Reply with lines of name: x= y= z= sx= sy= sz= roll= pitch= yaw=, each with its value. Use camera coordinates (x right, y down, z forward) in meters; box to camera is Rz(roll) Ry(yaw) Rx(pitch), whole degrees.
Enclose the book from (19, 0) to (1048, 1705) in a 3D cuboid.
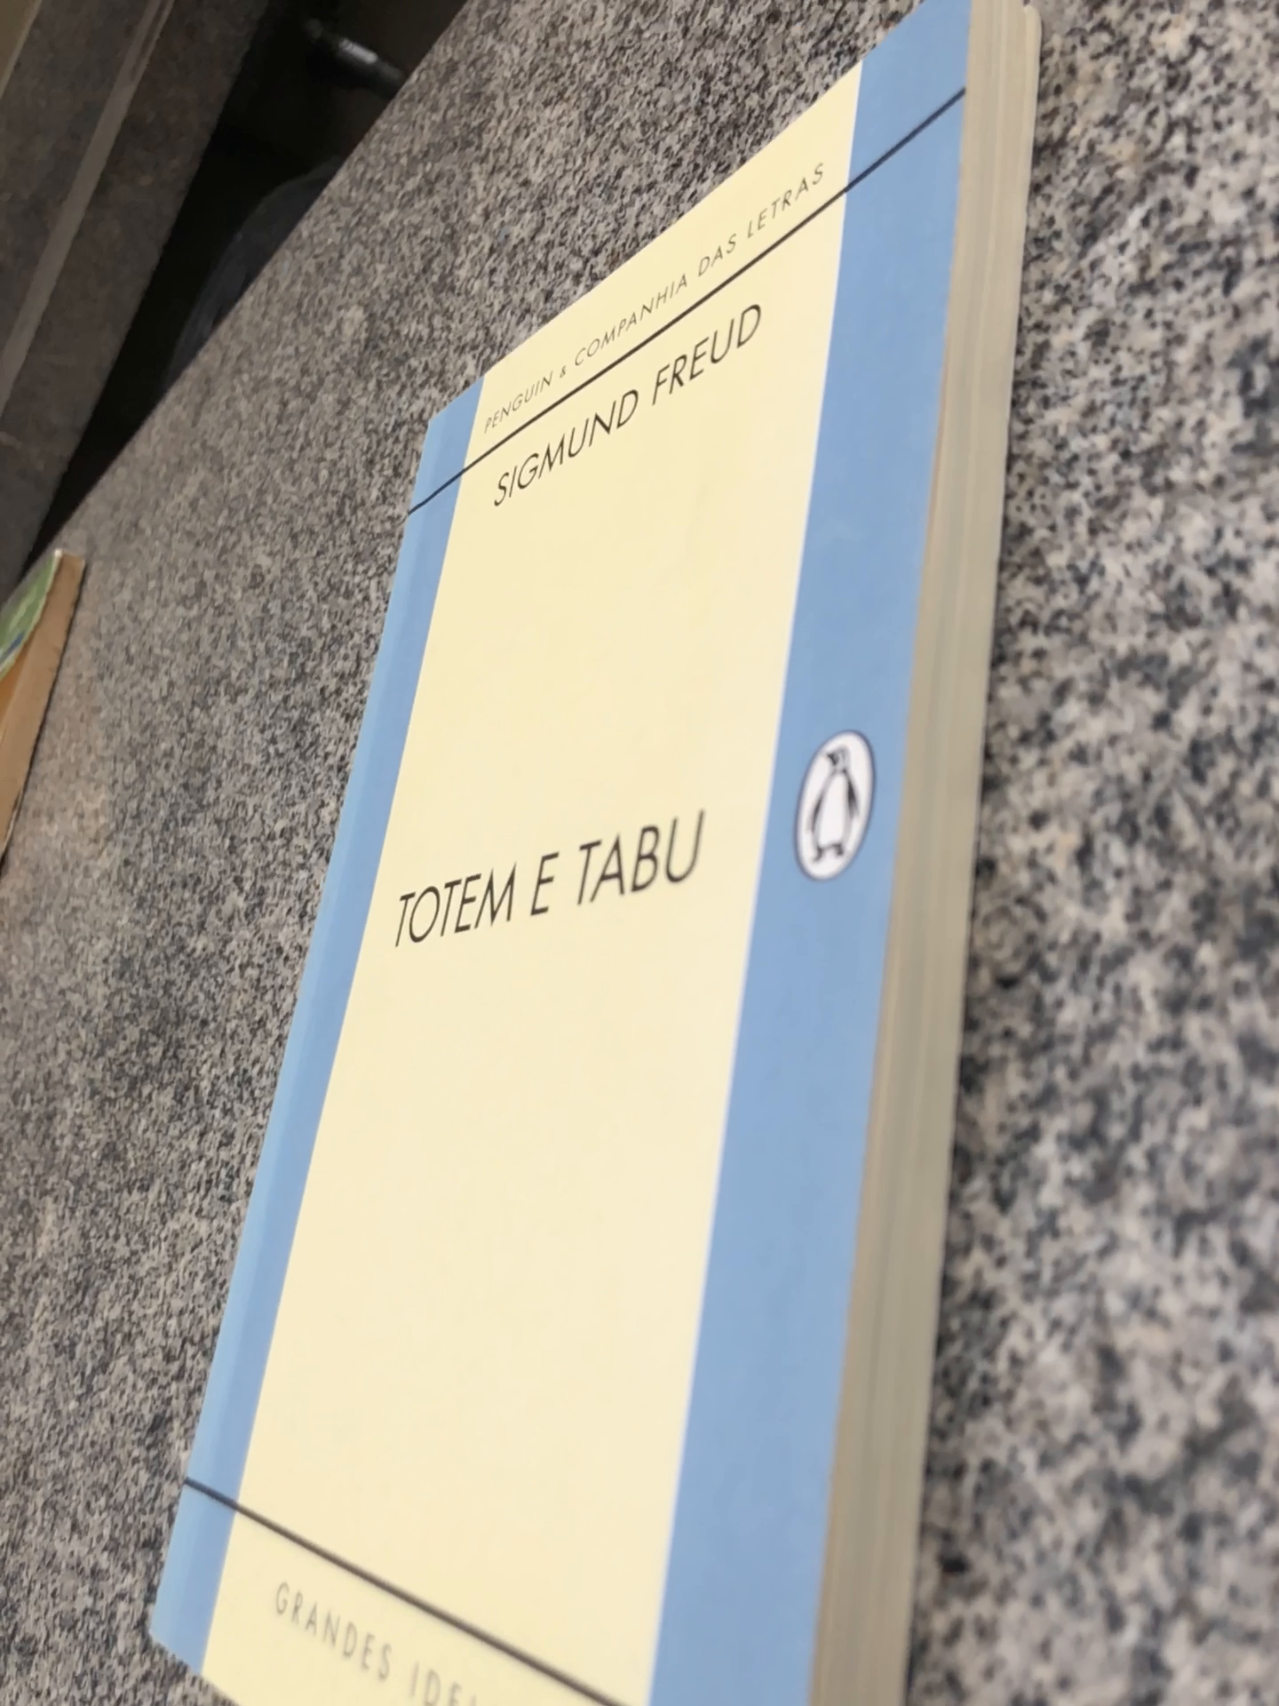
book: x=-0.019 y=0.006 z=0.164 sx=0.131 sy=0.015 sz=0.191 roll=-14 pitch=60 yaw=52
